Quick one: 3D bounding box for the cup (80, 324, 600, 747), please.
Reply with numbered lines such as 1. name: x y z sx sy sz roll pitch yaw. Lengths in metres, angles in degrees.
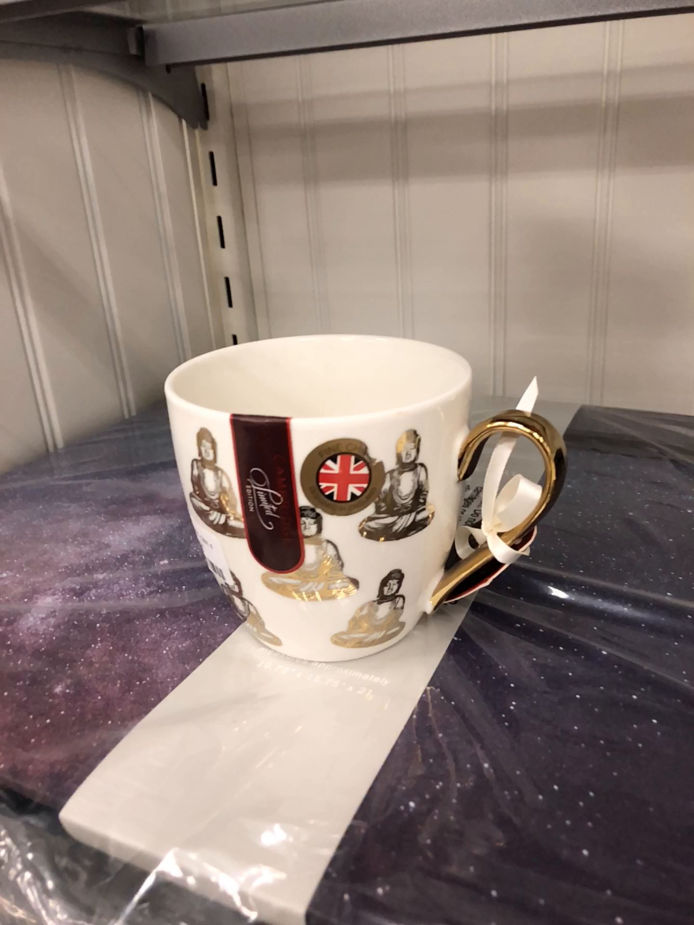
1. cup: 0.007 0.011 0.258 0.137 0.089 0.101 5 24 20
